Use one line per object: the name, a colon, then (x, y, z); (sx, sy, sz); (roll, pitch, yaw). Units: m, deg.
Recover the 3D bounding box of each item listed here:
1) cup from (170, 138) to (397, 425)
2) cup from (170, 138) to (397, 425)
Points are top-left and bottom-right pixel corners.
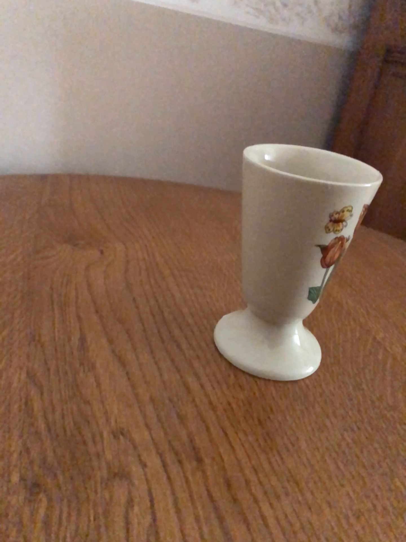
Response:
cup: (0.044, -0.001, 0.251); (0.080, 0.119, 0.081); (8, 26, -4)
cup: (0.044, -0.001, 0.251); (0.080, 0.119, 0.081); (8, 26, -4)
